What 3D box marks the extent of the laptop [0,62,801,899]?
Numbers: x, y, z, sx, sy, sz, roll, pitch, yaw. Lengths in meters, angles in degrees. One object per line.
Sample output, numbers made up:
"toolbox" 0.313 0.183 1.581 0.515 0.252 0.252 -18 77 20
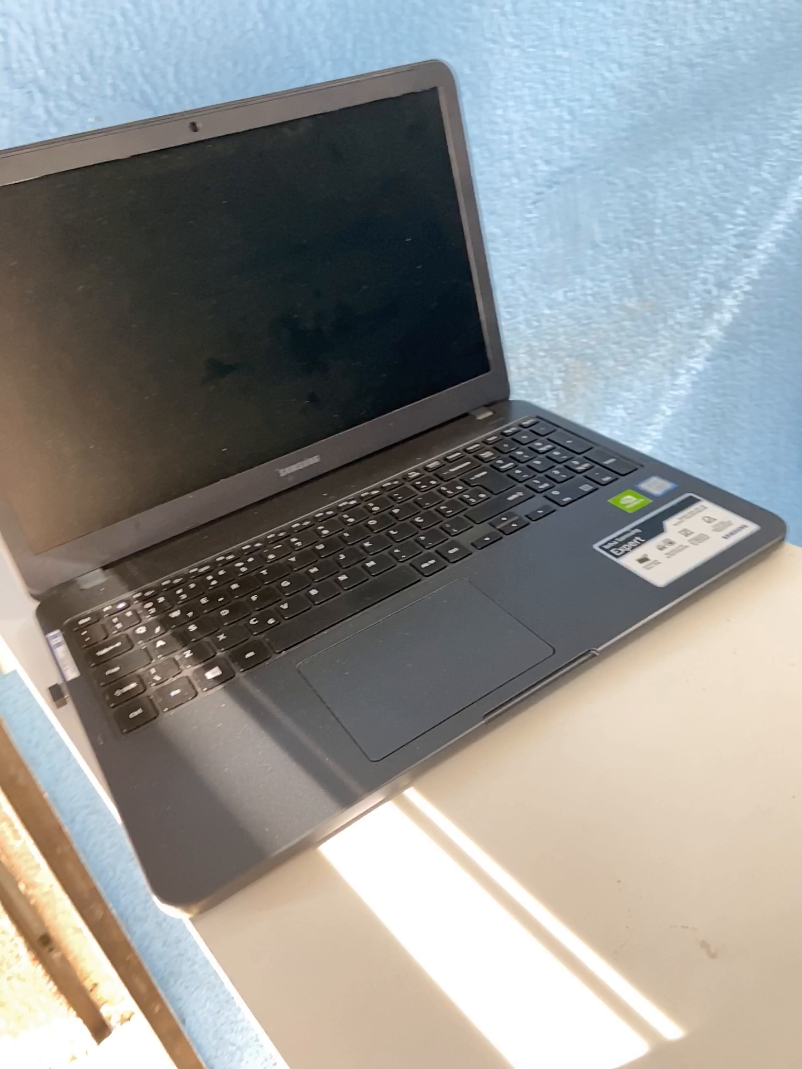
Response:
"laptop" -0.030 -0.086 0.439 0.371 0.232 0.288 -26 37 -23
